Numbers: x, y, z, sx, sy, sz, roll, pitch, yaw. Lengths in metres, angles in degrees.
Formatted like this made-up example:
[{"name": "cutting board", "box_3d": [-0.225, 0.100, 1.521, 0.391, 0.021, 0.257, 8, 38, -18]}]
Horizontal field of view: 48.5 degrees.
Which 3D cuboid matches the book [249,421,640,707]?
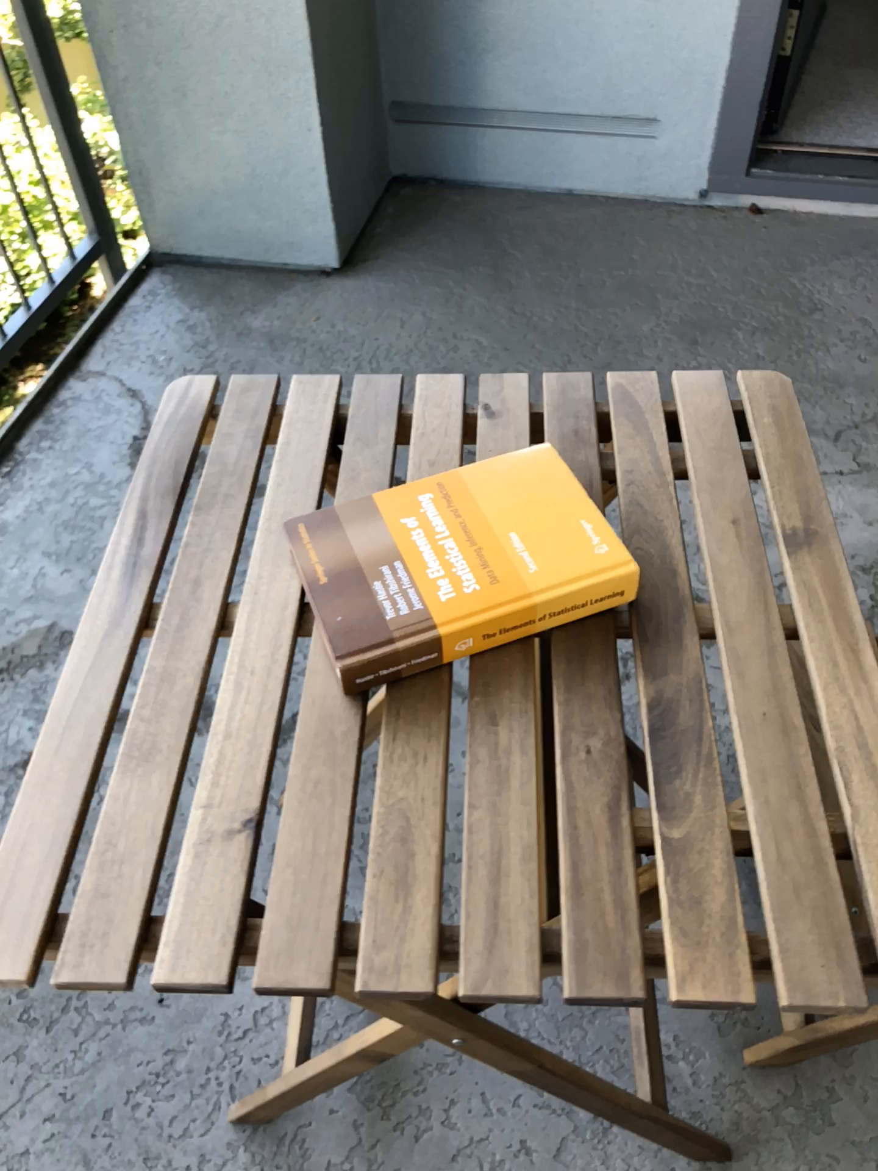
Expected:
[{"name": "book", "box_3d": [-0.001, -0.026, 0.756, 0.250, 0.040, 0.181, -17, 51, -12]}]
